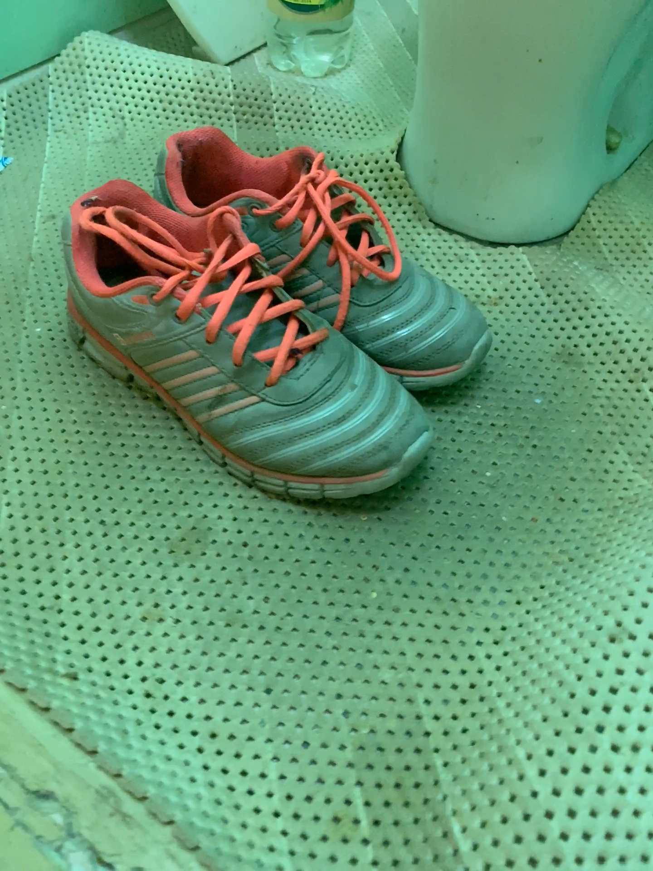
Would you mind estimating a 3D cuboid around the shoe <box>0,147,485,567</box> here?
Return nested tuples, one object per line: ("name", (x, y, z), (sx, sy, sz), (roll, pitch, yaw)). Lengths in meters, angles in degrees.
("shoe", (-0.061, -0.059, 0.397), (0.269, 0.089, 0.110), (33, 58, 20))

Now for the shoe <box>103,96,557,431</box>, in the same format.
("shoe", (-0.003, -0.126, 0.460), (0.270, 0.089, 0.111), (27, 56, 17))
